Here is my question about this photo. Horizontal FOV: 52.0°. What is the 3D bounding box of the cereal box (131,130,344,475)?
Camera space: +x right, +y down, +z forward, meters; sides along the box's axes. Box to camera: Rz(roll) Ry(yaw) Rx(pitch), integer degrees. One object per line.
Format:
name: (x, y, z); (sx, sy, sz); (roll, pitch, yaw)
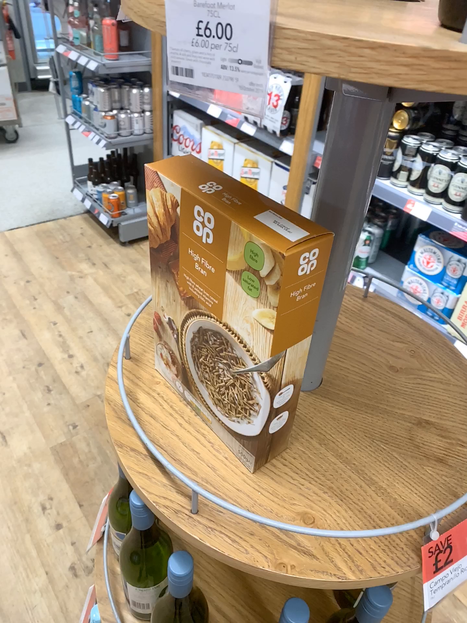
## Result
cereal box: (-0.015, -0.005, 0.476); (0.060, 0.277, 0.201); (-25, 47, -32)
